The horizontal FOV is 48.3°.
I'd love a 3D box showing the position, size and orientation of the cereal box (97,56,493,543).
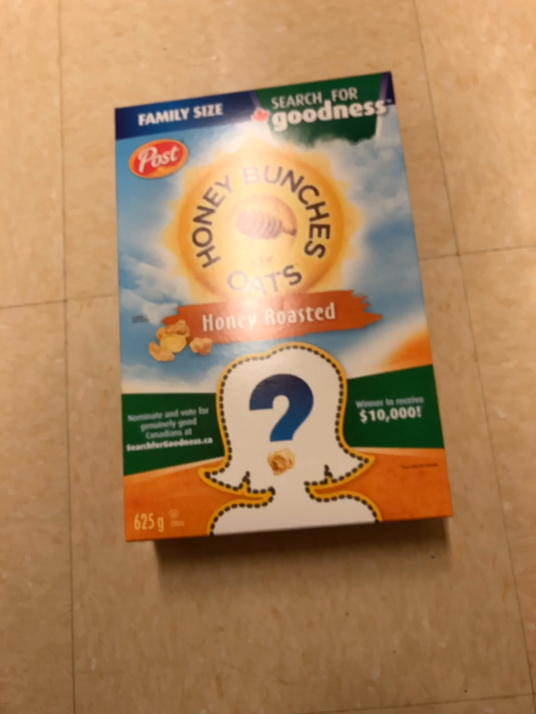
[{"bbox_3d":[0.004,-0.039,0.390,0.210,0.070,0.291,-5,74,3],"label":"cereal box"}]
